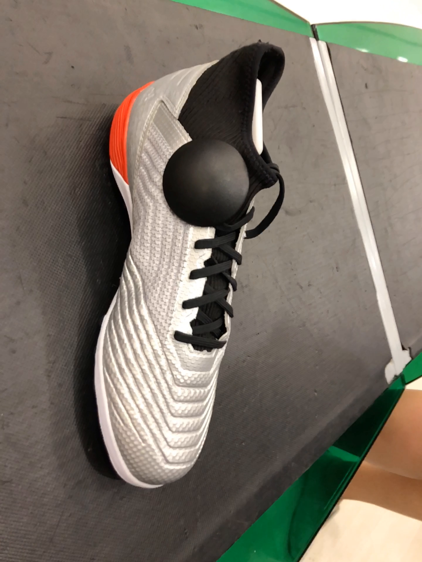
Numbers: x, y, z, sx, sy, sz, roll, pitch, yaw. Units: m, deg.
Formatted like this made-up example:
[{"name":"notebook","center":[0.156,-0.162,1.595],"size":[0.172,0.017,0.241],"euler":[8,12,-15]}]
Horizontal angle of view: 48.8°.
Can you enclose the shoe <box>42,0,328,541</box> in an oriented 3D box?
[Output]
[{"name":"shoe","center":[-0.018,-0.004,0.288],"size":[0.091,0.139,0.250],"euler":[13,74,-45]}]
